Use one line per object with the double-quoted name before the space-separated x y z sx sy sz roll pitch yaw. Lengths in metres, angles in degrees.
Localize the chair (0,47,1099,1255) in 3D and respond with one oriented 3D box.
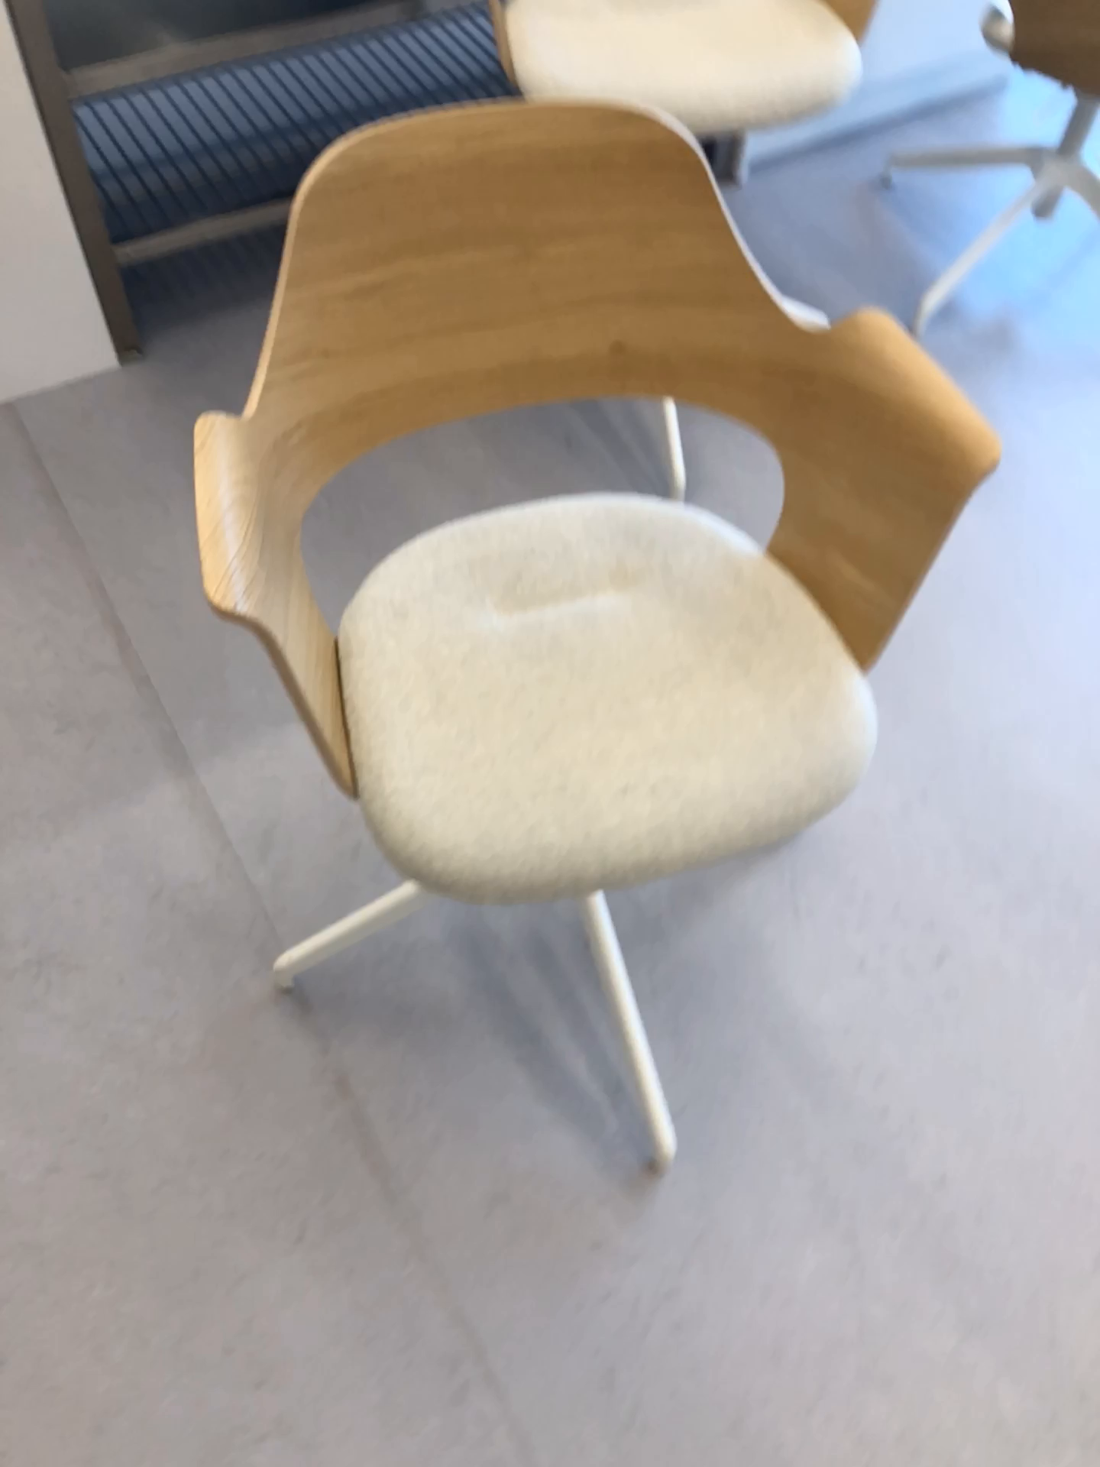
"chair" 0.026 -0.024 1.054 0.710 0.776 0.663 -5 56 -6
